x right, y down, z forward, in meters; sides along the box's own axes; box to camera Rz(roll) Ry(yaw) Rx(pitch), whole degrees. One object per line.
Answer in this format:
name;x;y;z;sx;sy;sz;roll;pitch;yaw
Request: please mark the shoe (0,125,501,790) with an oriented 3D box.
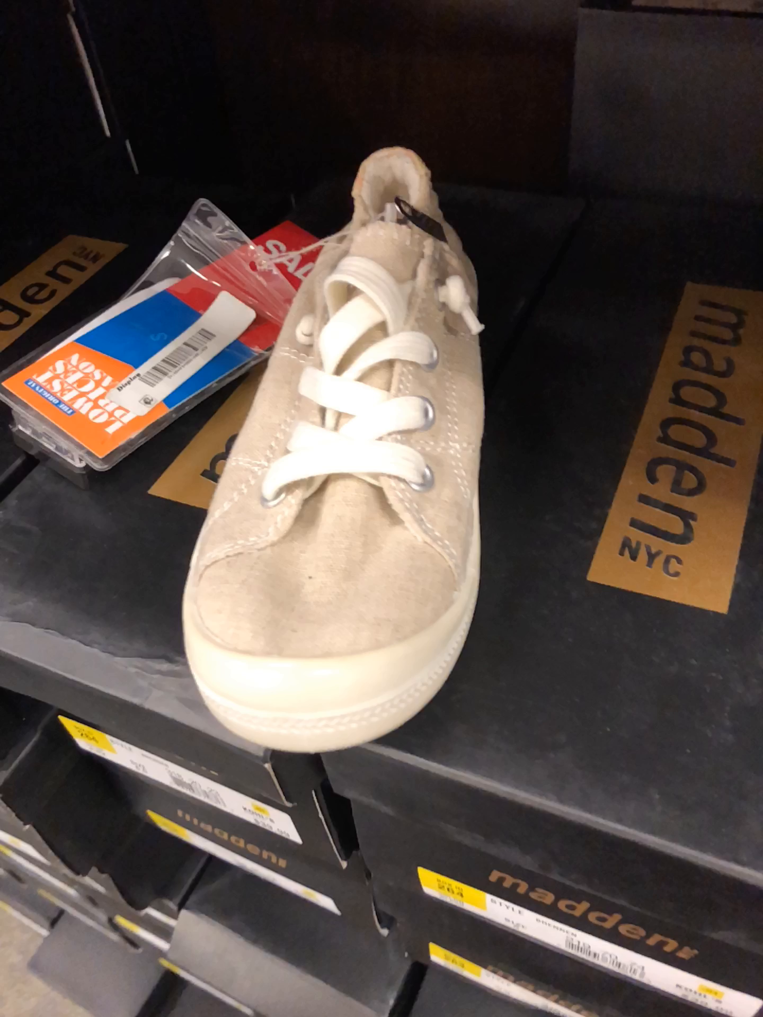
shoe;-0.016;-0.035;0.256;0.090;0.070;0.210;3;46;10
